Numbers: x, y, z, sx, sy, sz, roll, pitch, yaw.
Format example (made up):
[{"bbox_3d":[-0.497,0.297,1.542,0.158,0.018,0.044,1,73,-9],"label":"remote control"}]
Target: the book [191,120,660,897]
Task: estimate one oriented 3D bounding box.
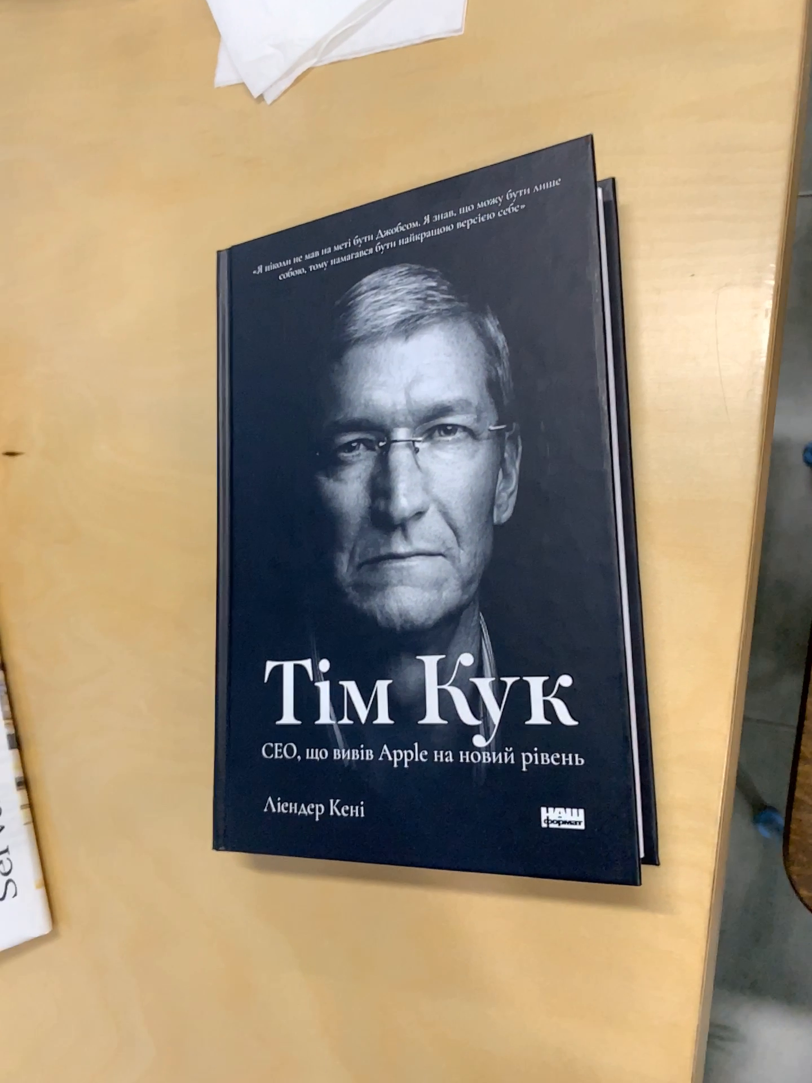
[{"bbox_3d":[-0.001,-0.009,0.278,0.145,0.034,0.217,-6,79,27],"label":"book"}]
